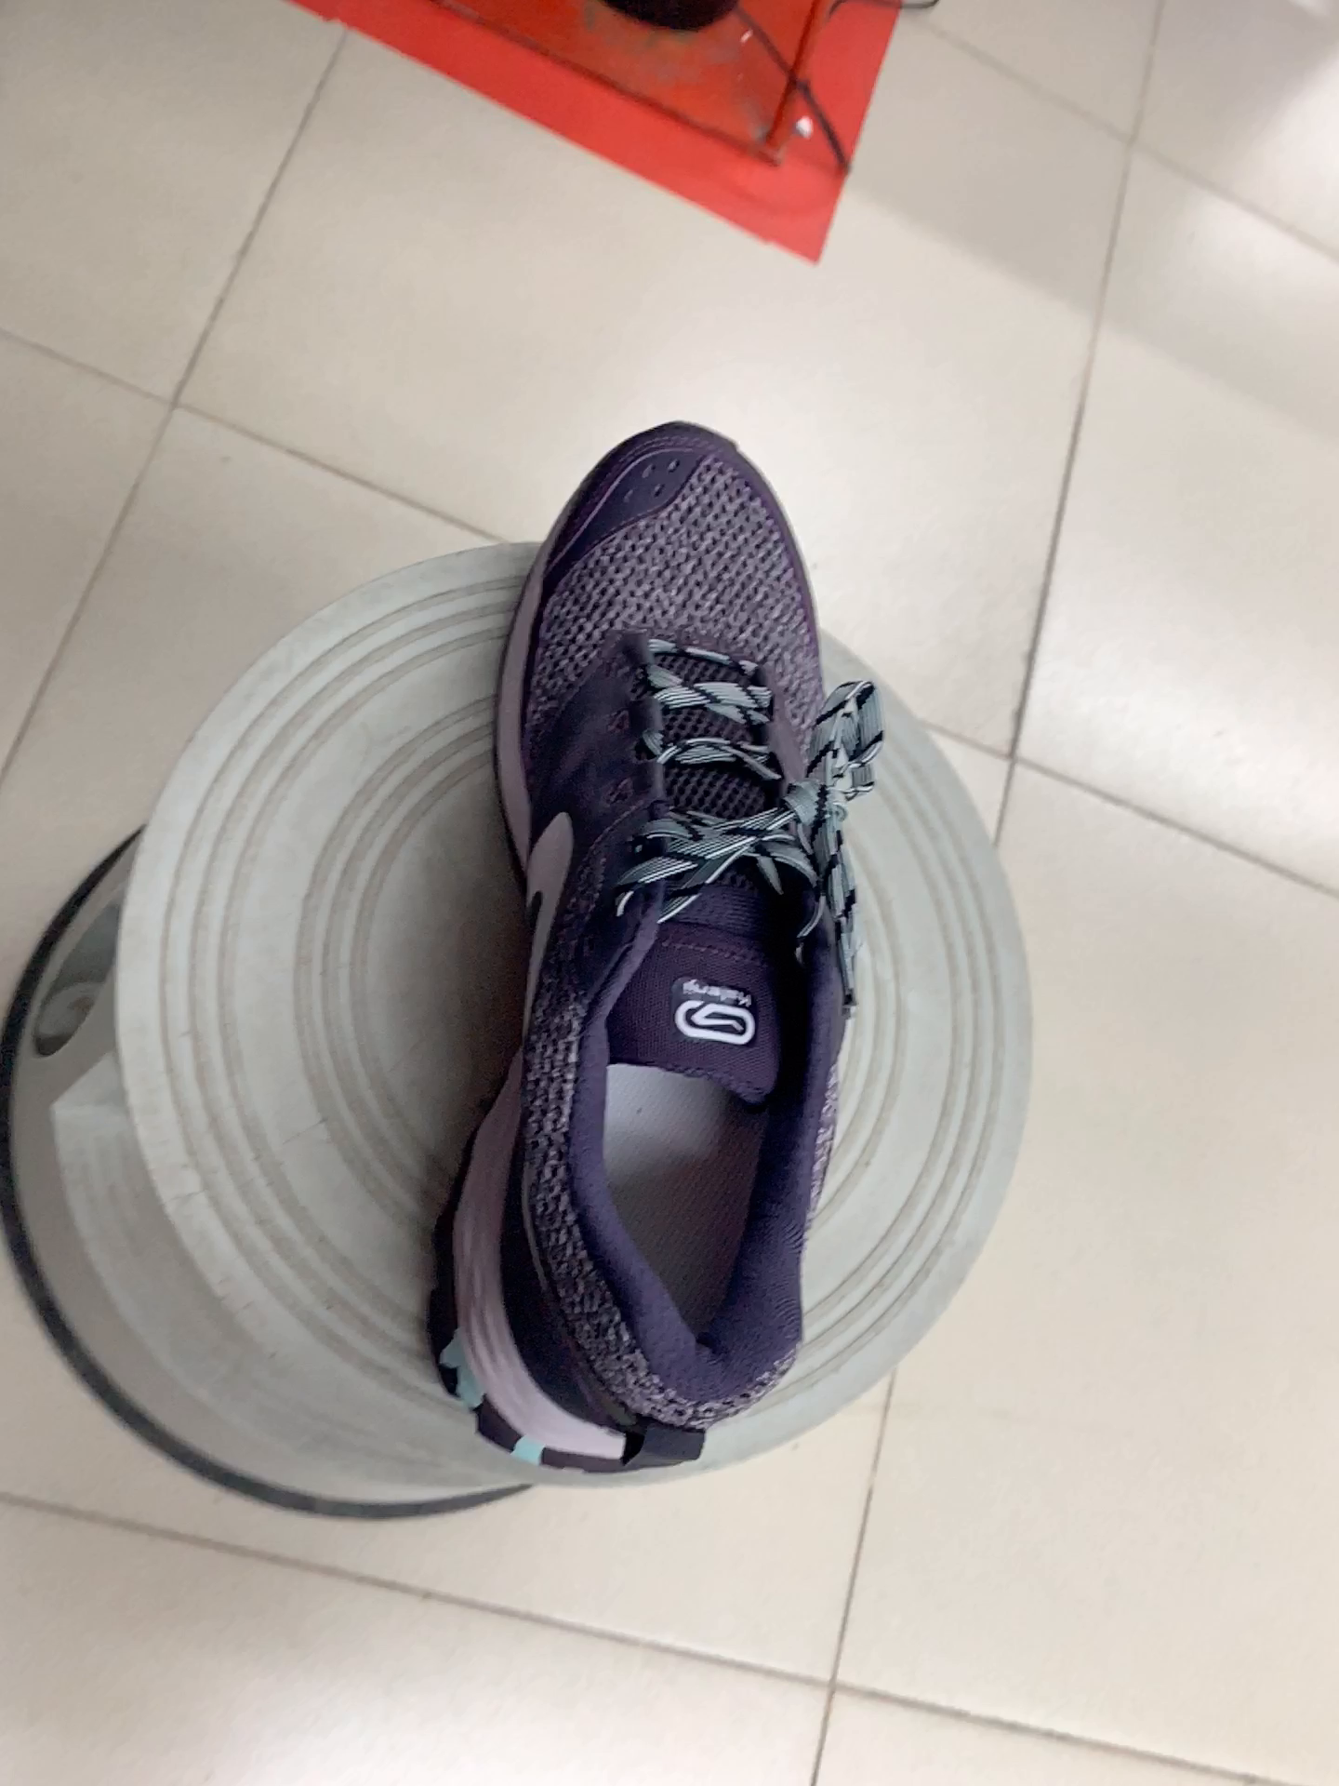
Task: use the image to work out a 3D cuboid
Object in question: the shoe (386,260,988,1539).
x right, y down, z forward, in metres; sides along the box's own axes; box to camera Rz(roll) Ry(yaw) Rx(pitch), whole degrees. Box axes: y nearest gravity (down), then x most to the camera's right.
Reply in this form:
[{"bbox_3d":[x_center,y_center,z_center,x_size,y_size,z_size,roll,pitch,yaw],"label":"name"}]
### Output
[{"bbox_3d":[0.006,0.002,0.368,0.100,0.110,0.290,12,73,-17],"label":"shoe"}]
